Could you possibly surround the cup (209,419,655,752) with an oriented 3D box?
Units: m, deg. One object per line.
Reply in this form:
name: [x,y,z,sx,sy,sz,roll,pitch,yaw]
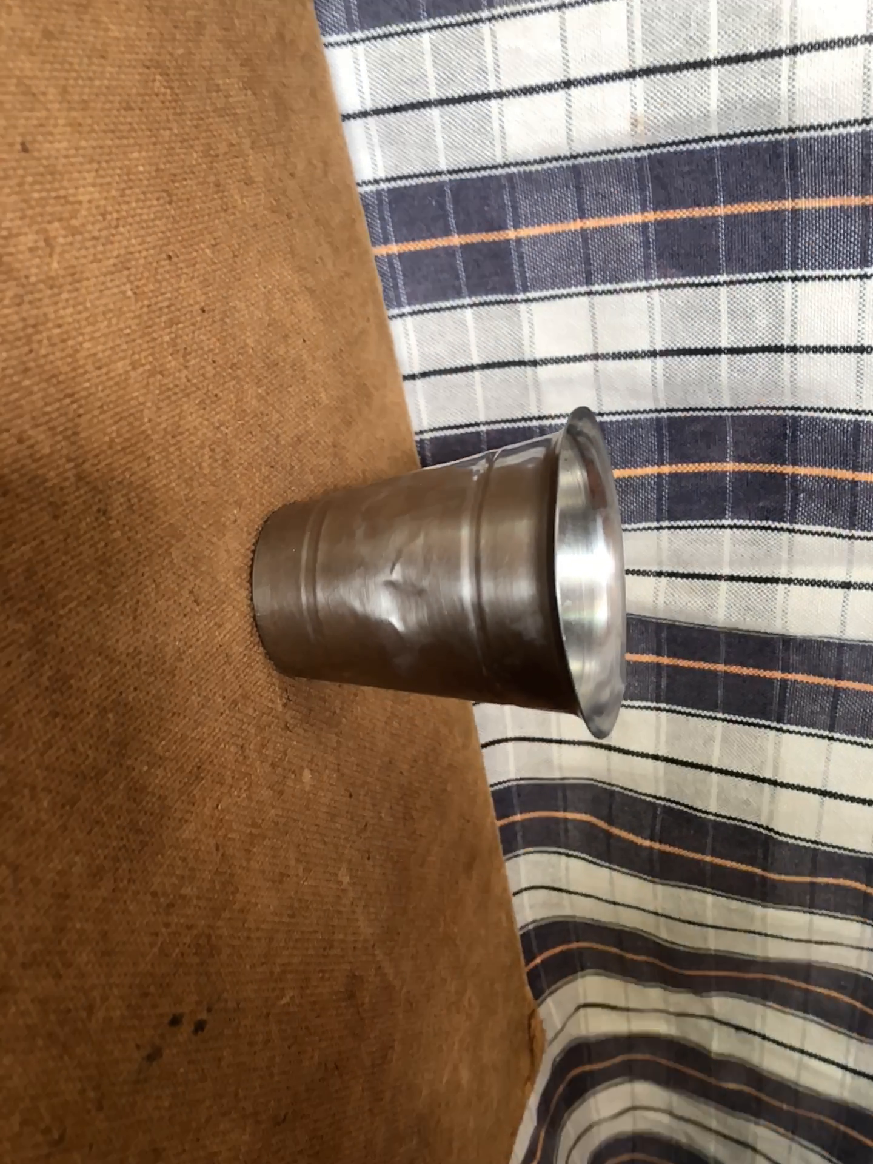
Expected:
cup: [0.003,0.004,0.224,0.070,0.079,0.060,8,78,-70]
